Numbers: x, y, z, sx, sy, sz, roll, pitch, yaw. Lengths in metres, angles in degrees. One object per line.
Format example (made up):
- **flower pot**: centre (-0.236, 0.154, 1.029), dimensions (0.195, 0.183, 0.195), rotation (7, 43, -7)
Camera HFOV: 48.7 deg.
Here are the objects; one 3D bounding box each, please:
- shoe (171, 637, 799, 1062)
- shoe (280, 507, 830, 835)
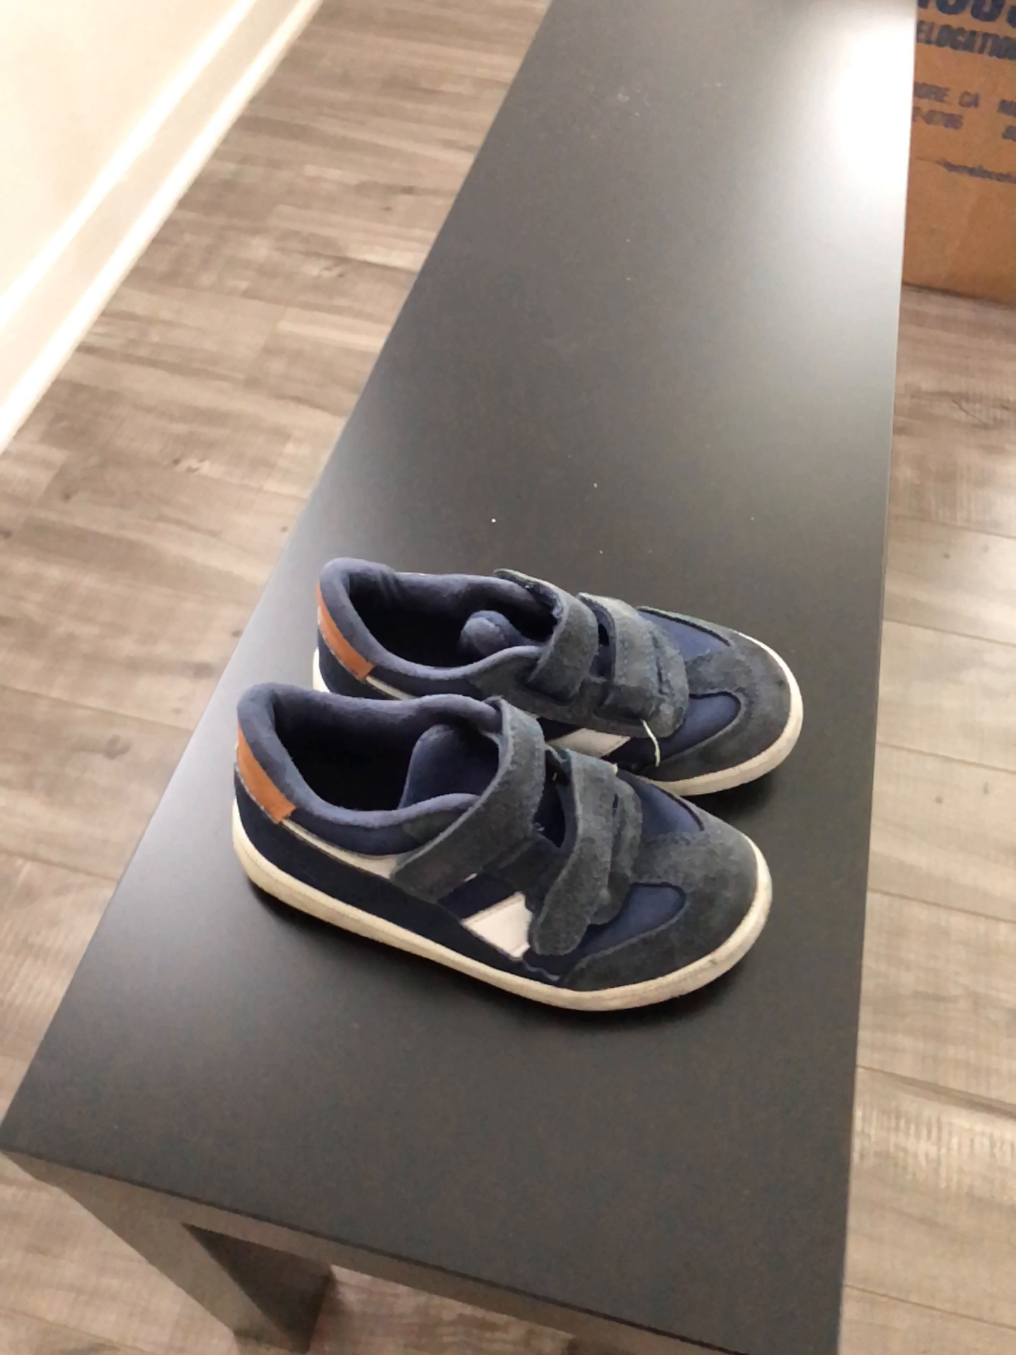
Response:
- **shoe**: centre (-0.005, 0.058, 0.383), dimensions (0.185, 0.068, 0.082), rotation (12, 54, 6)
- **shoe**: centre (0.017, -0.002, 0.429), dimensions (0.185, 0.068, 0.088), rotation (5, 54, 0)
